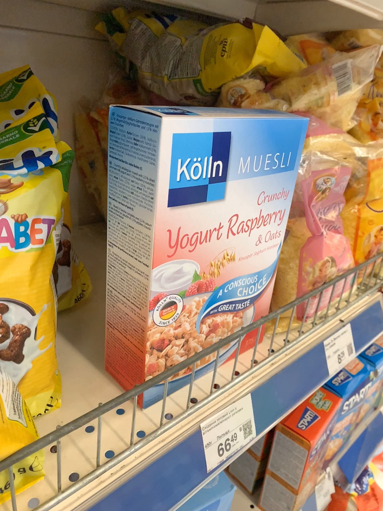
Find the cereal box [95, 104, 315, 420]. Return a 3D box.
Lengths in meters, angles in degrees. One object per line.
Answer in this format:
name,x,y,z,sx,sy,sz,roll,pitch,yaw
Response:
cereal box,0.007,-0.003,0.313,0.151,0.208,0.060,-16,33,-39
